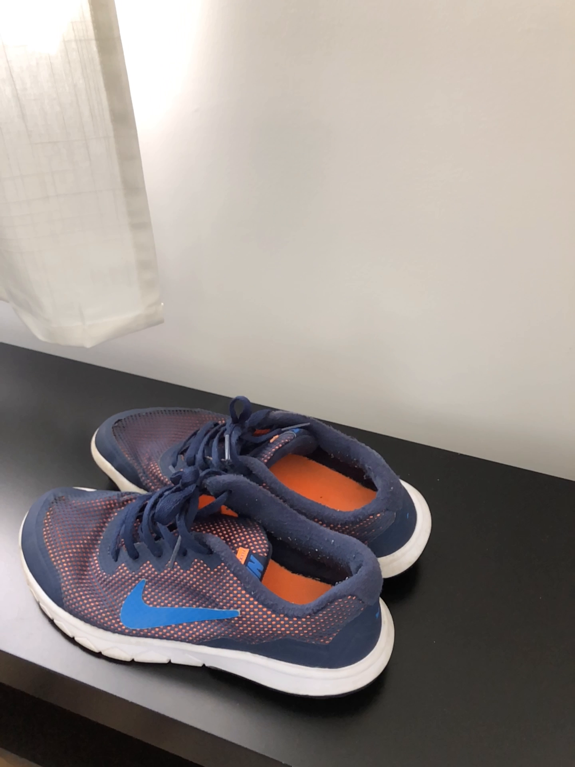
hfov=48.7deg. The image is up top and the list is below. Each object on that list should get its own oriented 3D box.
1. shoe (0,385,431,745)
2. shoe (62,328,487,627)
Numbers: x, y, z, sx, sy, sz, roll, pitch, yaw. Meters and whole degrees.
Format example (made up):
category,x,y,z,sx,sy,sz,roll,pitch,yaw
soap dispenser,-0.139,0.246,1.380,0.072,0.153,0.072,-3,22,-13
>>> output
category,x,y,z,sx,sy,sz,roll,pitch,yaw
shoe,-0.058,0.097,0.387,0.260,0.089,0.120,11,40,13
shoe,-0.011,0.054,0.444,0.260,0.089,0.100,16,41,18
